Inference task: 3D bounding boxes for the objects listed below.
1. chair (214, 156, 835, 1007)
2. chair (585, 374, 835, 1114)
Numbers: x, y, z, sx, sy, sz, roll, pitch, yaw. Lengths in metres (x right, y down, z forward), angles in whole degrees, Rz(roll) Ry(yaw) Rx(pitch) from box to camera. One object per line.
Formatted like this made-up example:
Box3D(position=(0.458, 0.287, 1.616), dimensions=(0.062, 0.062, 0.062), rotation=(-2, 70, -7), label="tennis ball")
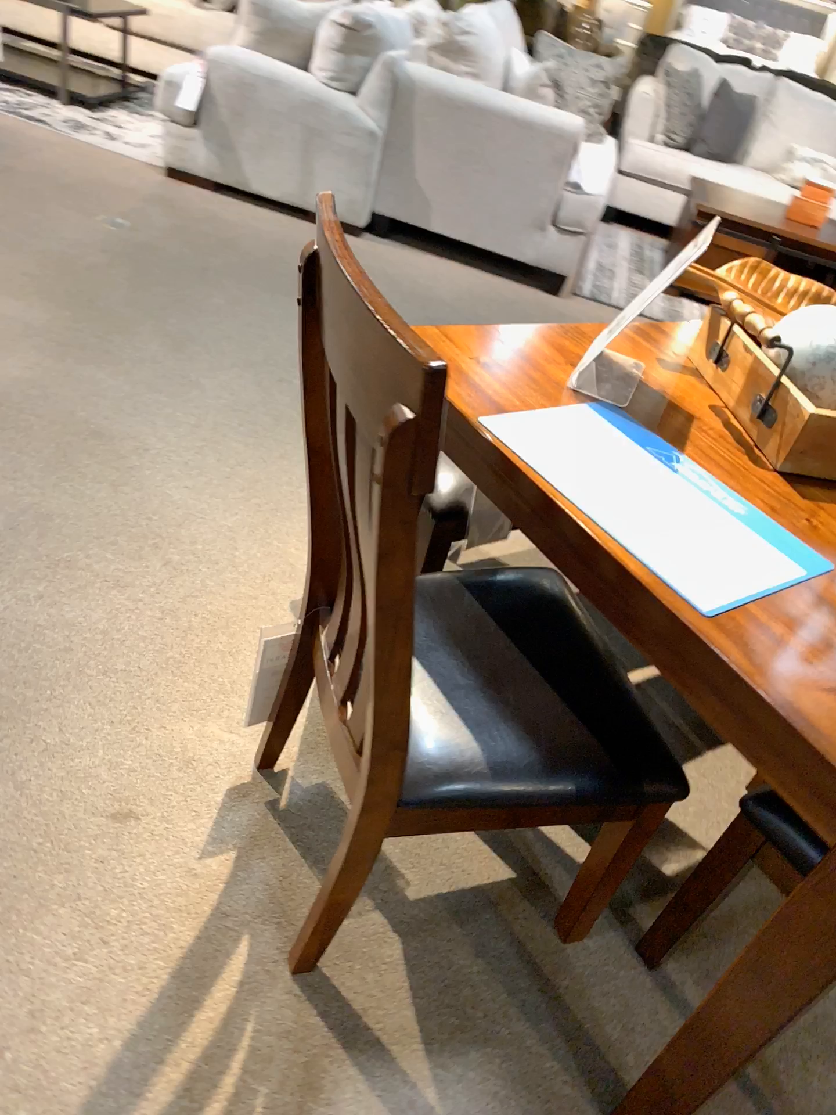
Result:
Box3D(position=(0.070, 0.066, 1.124), dimensions=(0.539, 0.890, 0.533), rotation=(1, 39, -20), label="chair")
Box3D(position=(0.740, 0.321, 1.056), dimensions=(0.593, 0.890, 0.530), rotation=(-12, 45, -34), label="chair")
